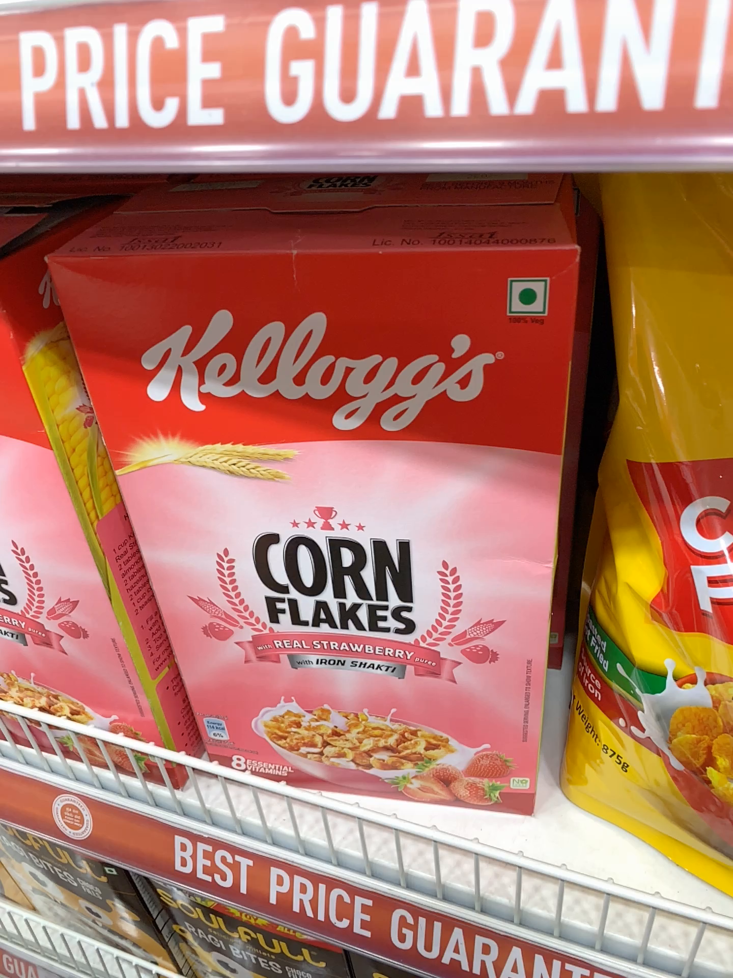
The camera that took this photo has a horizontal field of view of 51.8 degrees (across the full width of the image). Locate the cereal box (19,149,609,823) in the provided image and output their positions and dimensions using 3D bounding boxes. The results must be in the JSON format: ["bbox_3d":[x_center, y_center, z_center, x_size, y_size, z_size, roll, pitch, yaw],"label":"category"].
[{"bbox_3d":[-0.001,0.014,0.322,0.170,0.268,0.091,1,35,11],"label":"cereal box"}]
